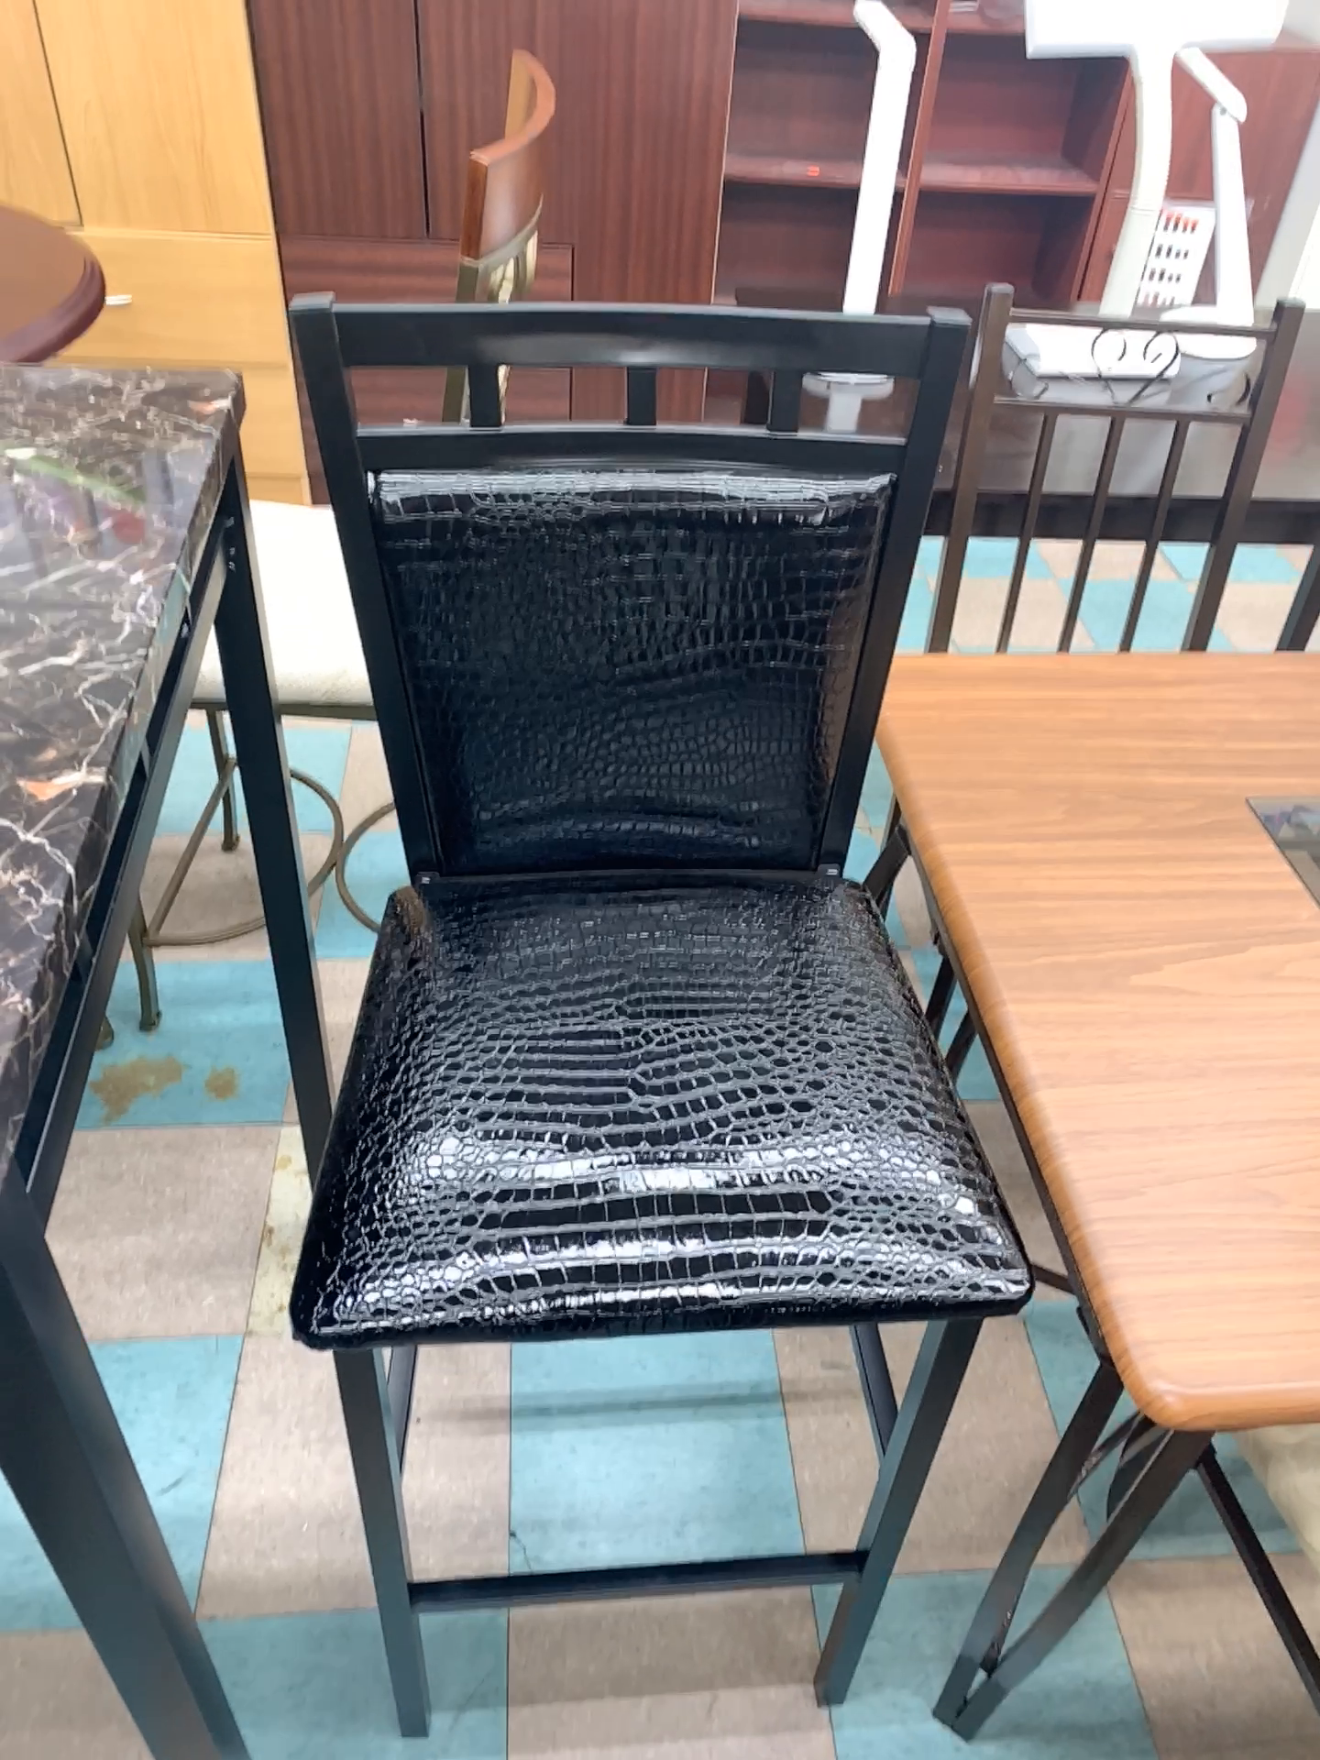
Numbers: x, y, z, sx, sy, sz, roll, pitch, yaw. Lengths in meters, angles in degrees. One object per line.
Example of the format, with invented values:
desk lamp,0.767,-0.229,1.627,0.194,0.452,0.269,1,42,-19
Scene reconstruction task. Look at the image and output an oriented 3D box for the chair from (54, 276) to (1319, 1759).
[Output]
chair,-0.003,0.195,0.925,0.444,1.026,0.419,0,41,-4
